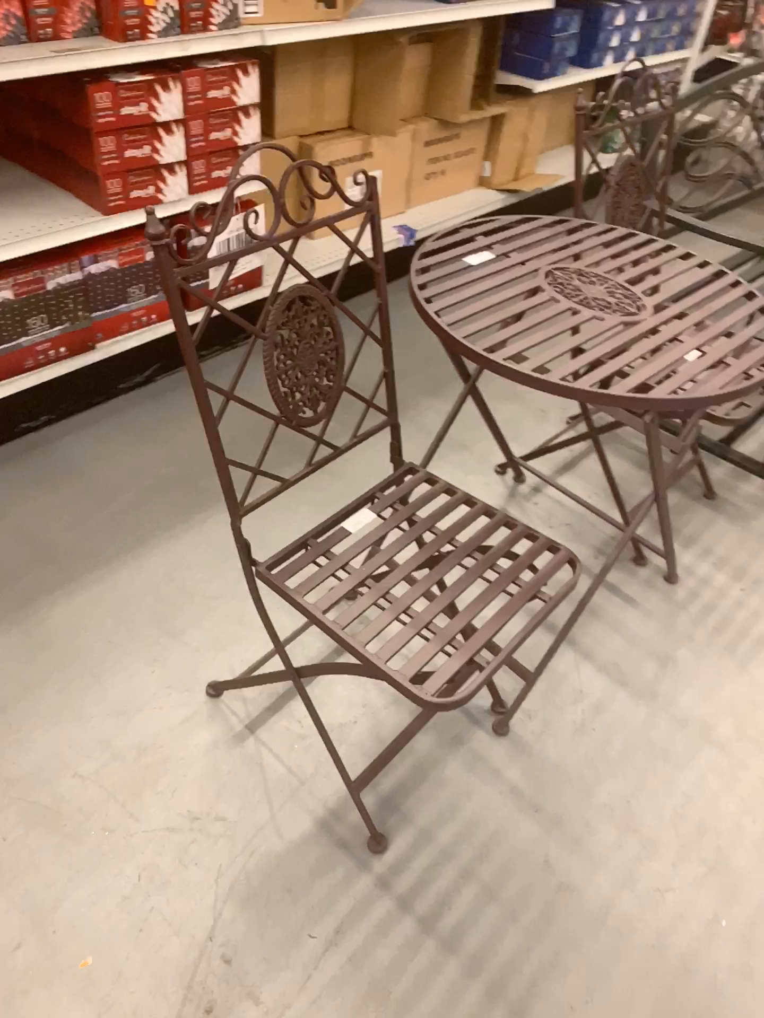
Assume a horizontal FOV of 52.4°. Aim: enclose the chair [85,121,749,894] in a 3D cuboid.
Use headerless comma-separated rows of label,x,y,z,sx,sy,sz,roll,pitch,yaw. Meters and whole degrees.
chair,-0.001,0.014,1.098,0.564,0.839,0.423,33,48,25
